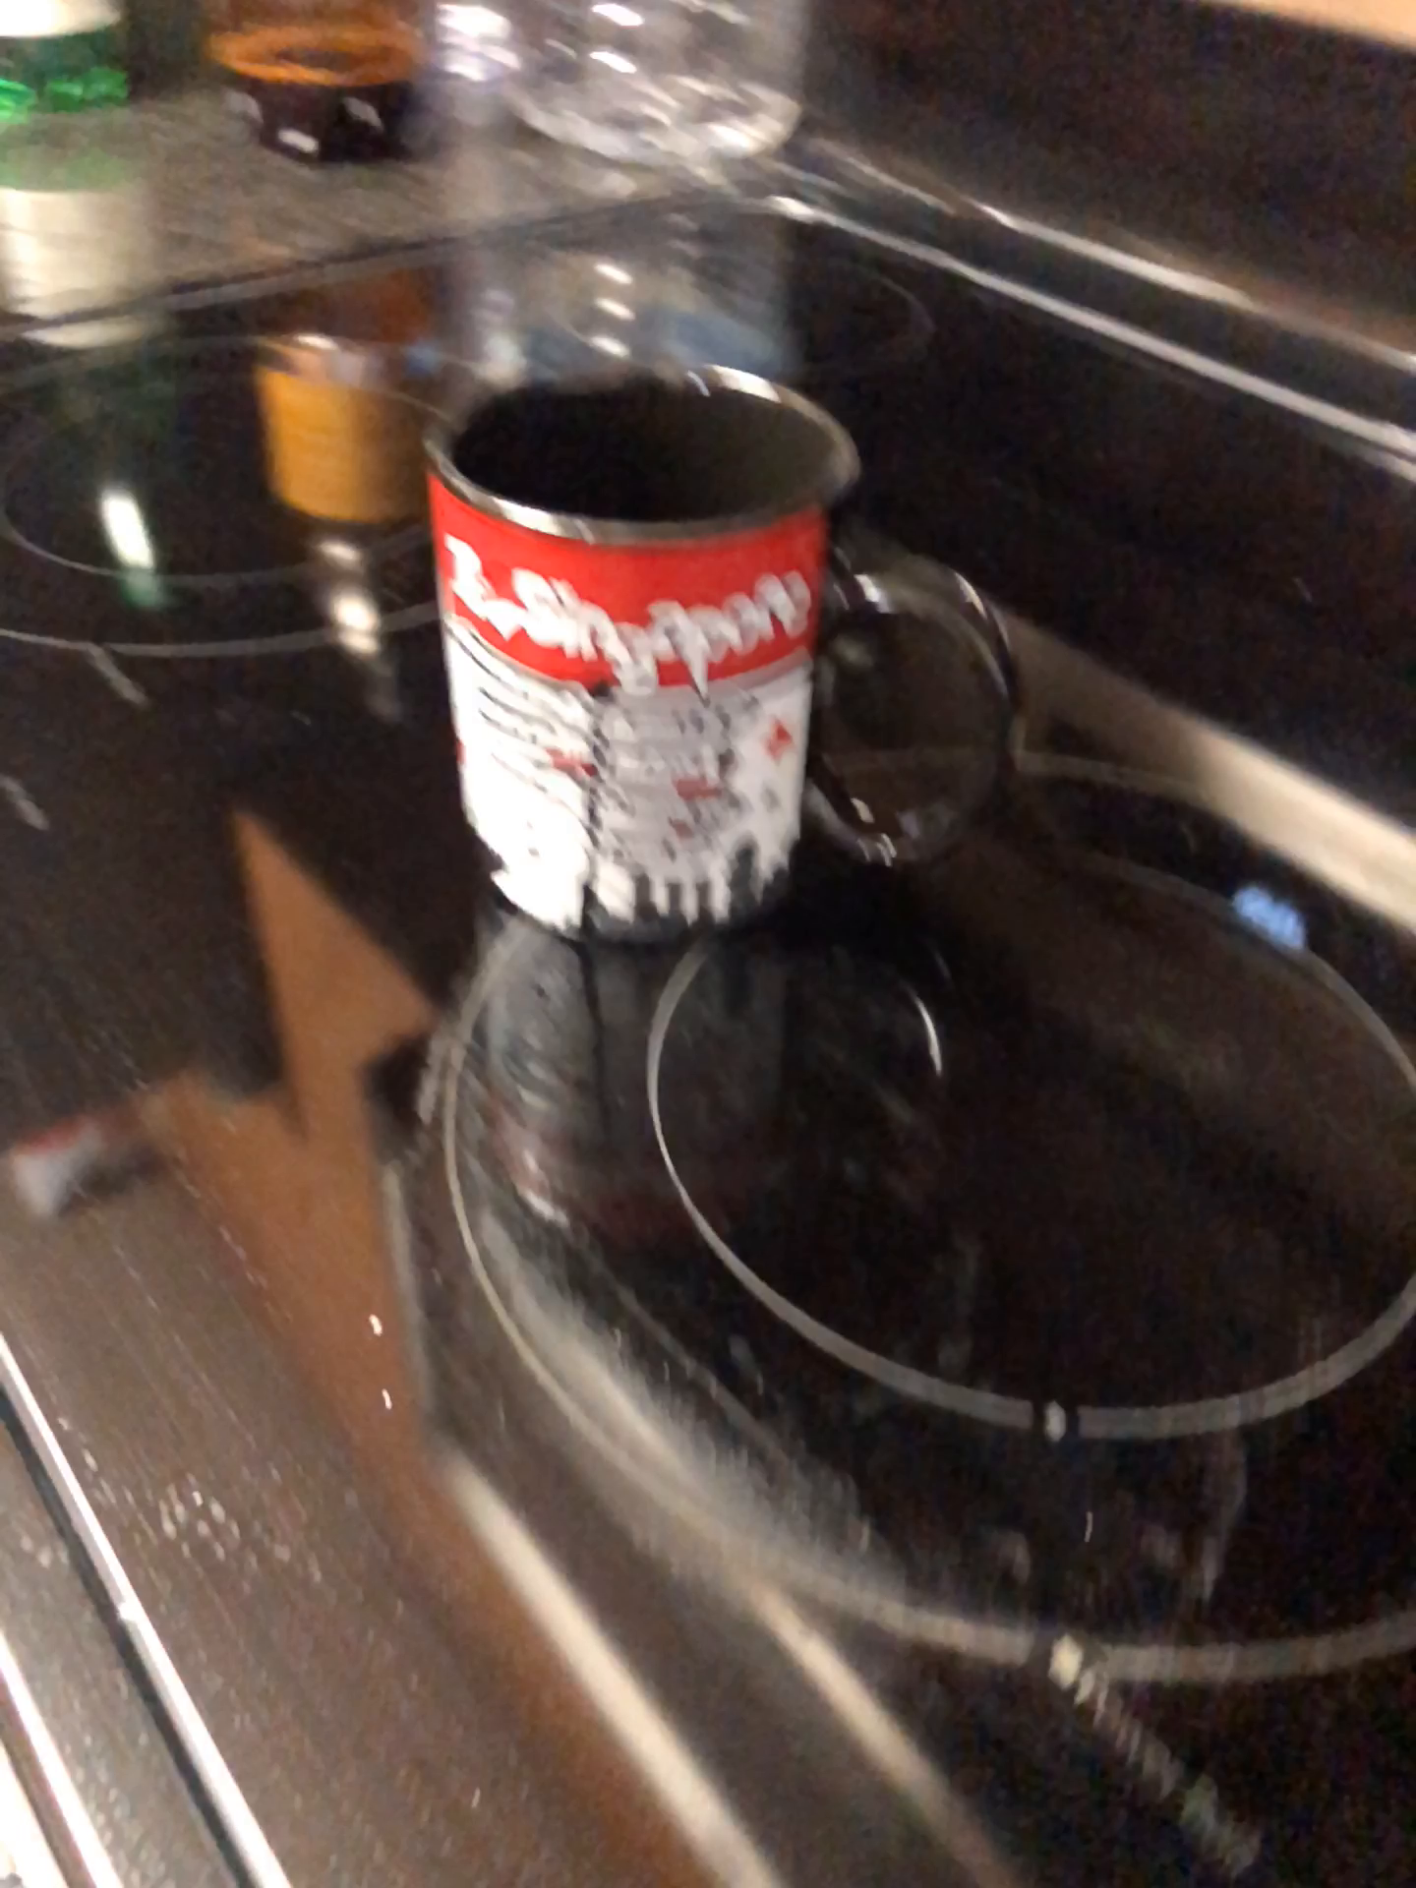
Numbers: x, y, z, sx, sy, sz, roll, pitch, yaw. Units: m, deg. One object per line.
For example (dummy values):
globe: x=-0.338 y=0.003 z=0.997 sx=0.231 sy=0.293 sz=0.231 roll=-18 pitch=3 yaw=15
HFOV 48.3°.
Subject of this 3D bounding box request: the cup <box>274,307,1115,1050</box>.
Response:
cup: x=-0.001 y=-0.060 z=0.322 sx=0.130 sy=0.090 sz=0.090 roll=19 pitch=43 yaw=18
